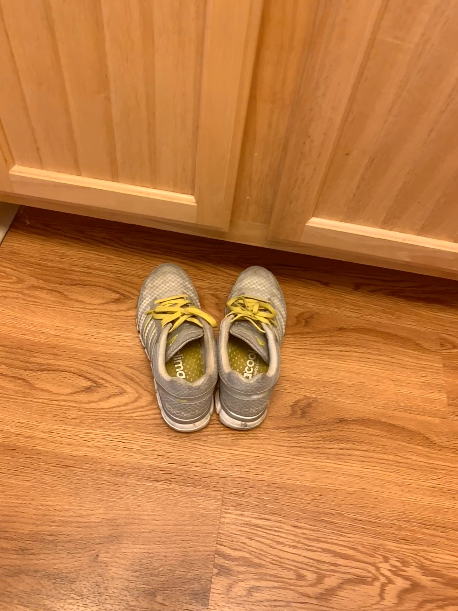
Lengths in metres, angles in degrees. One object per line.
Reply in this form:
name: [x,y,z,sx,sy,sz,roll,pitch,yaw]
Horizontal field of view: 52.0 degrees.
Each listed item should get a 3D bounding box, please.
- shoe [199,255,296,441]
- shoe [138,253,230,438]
shoe: [0.028,0.060,0.684,0.090,0.130,0.221,12,55,1]
shoe: [-0.074,0.056,0.700,0.090,0.130,0.231,-7,57,-12]
